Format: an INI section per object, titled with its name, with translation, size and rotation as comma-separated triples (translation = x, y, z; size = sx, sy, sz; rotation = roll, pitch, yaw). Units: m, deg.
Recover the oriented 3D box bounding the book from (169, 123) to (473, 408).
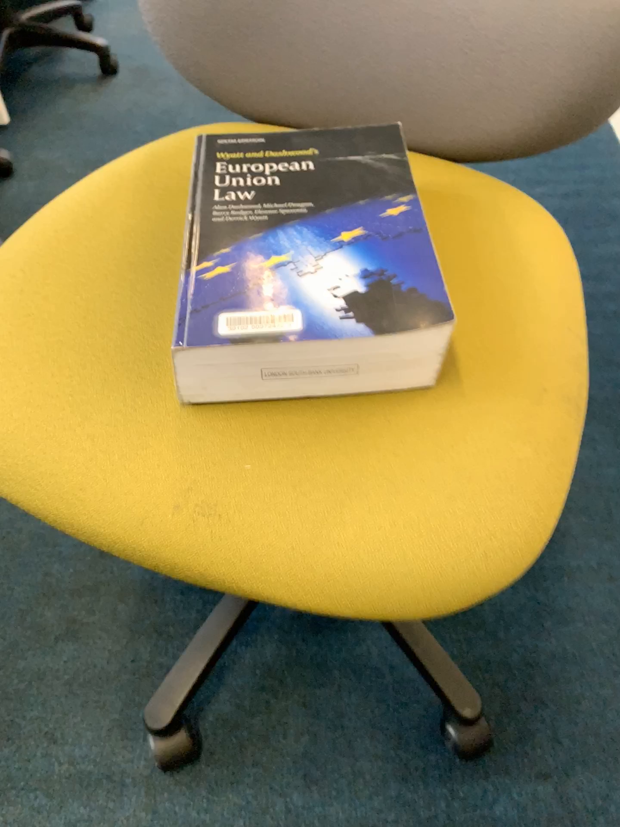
[book]
translation = 0.000, -0.124, 0.480
size = 0.180, 0.060, 0.252
rotation = -3, 51, -2
